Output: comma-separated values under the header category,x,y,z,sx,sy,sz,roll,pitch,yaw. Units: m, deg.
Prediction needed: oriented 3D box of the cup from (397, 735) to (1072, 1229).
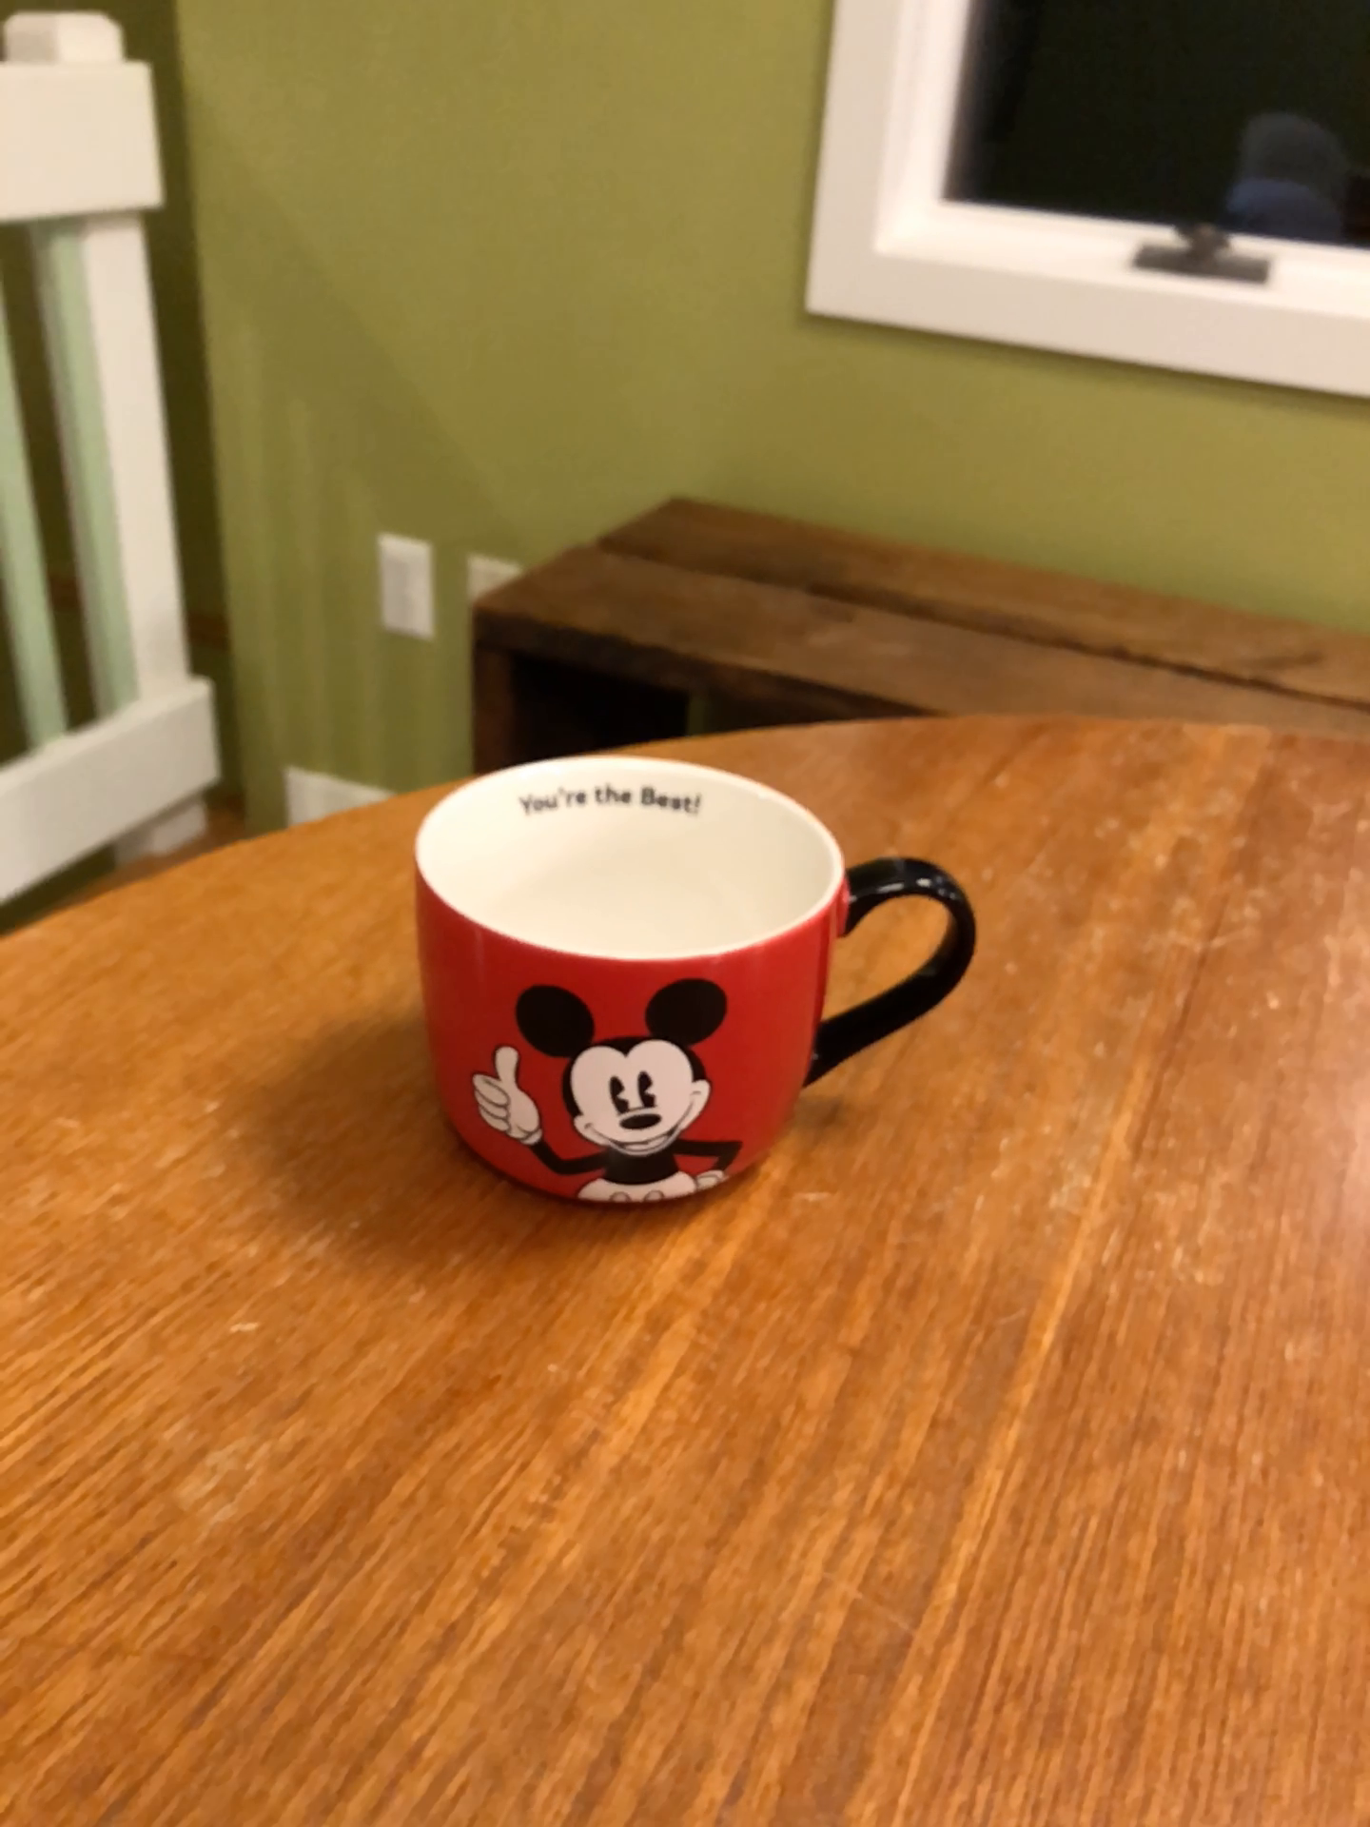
category,x,y,z,sx,sy,sz,roll,pitch,yaw
cup,0.005,0.010,0.393,0.142,0.069,0.103,-5,31,-16
